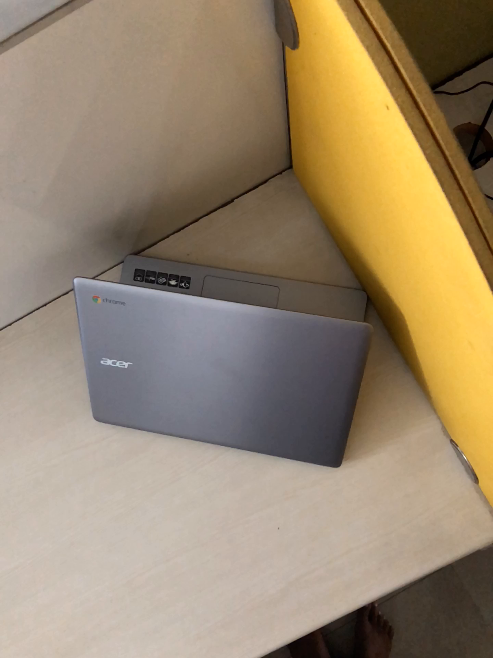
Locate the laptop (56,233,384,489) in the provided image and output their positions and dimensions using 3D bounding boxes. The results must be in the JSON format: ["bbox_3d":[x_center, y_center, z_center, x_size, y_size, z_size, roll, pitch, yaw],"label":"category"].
[{"bbox_3d":[-0.025,0.033,0.639,0.314,0.135,0.221,9,87,6],"label":"laptop"}]
